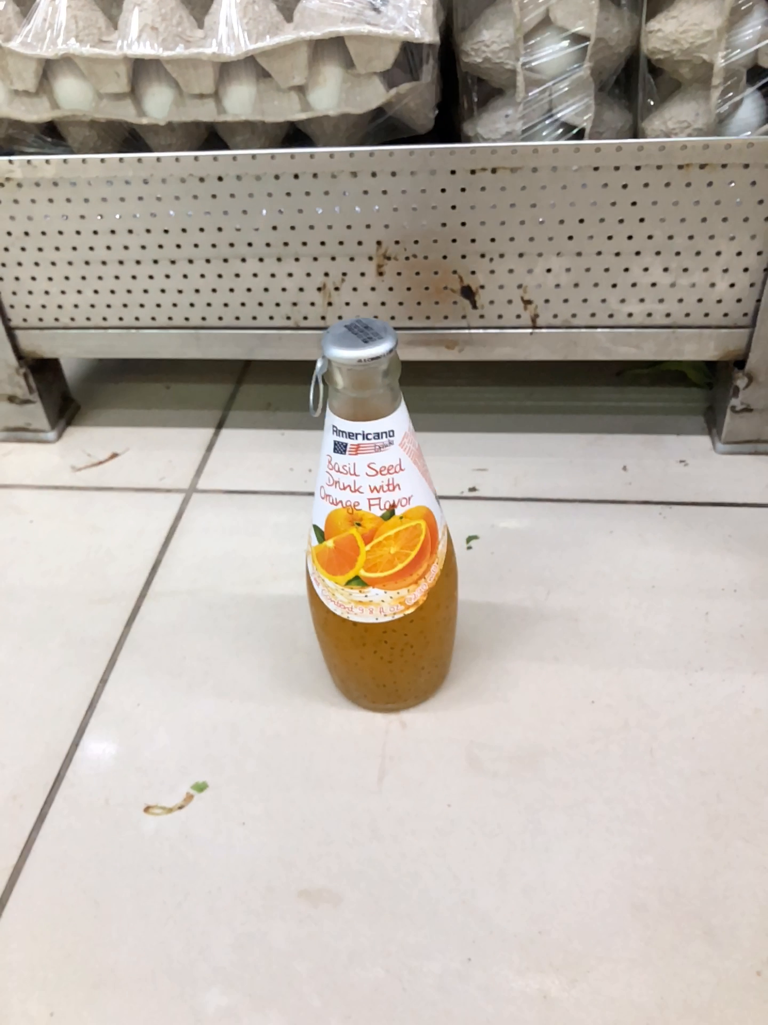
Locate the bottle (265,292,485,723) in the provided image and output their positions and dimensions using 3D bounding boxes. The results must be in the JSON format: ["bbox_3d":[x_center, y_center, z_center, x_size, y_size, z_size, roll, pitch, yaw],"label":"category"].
[{"bbox_3d":[0.004,0.005,0.353,0.070,0.169,0.070,-3,39,3],"label":"bottle"}]
